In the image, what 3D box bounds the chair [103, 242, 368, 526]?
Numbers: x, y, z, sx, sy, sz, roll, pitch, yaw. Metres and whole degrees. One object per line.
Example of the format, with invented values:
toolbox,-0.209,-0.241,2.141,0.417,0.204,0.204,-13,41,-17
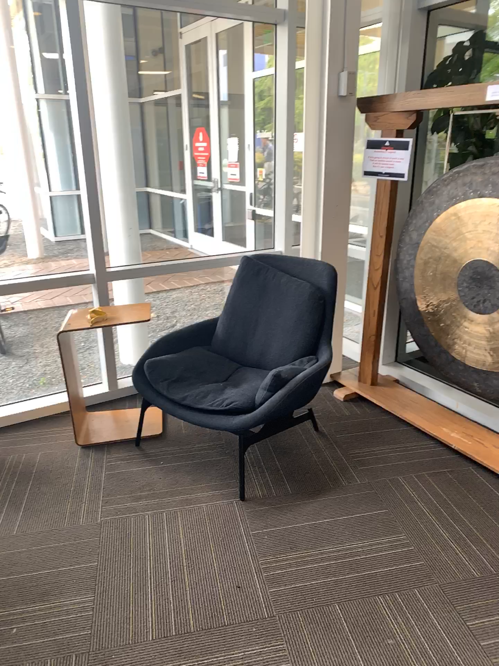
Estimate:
chair,-0.039,0.141,2.637,0.902,0.995,0.942,14,24,35
